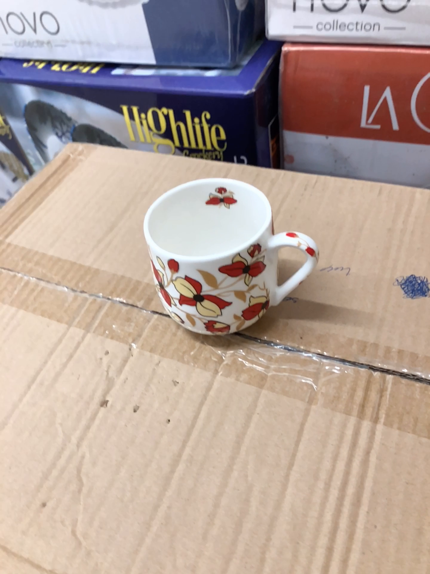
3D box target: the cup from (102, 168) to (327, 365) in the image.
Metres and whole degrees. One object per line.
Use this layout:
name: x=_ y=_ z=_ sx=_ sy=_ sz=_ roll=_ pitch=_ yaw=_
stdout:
cup: x=0.004 y=-0.013 z=0.247 sx=0.090 sy=0.060 sz=0.060 roll=13 pitch=50 yaw=21
